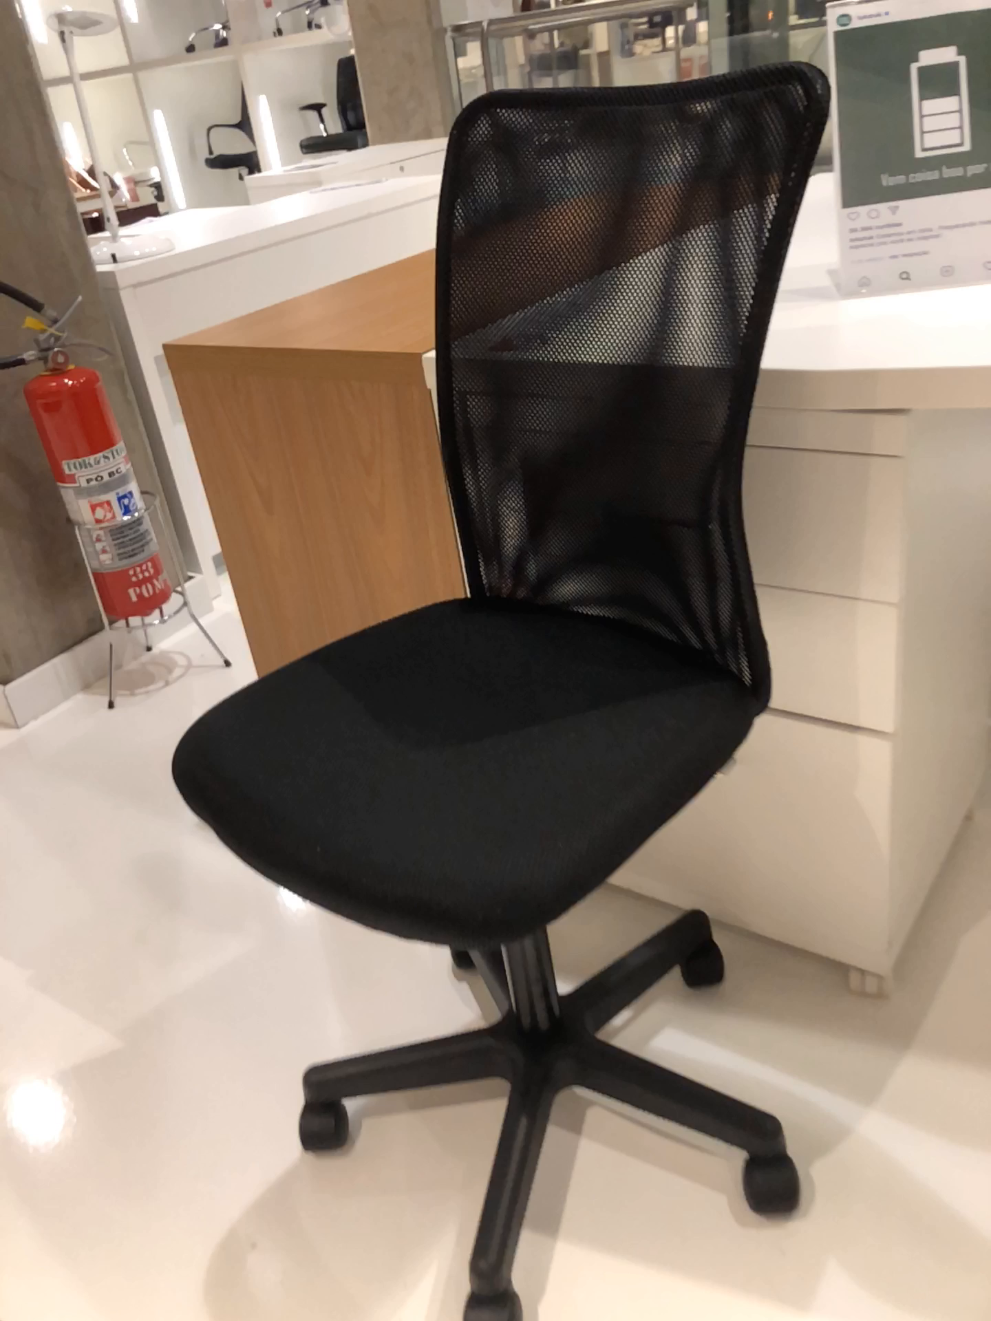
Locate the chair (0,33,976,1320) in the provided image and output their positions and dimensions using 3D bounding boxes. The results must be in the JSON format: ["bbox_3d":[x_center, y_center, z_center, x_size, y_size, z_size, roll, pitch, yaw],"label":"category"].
[{"bbox_3d":[-0.017,0.042,0.950,0.562,0.923,0.572,20,40,42],"label":"chair"}]
